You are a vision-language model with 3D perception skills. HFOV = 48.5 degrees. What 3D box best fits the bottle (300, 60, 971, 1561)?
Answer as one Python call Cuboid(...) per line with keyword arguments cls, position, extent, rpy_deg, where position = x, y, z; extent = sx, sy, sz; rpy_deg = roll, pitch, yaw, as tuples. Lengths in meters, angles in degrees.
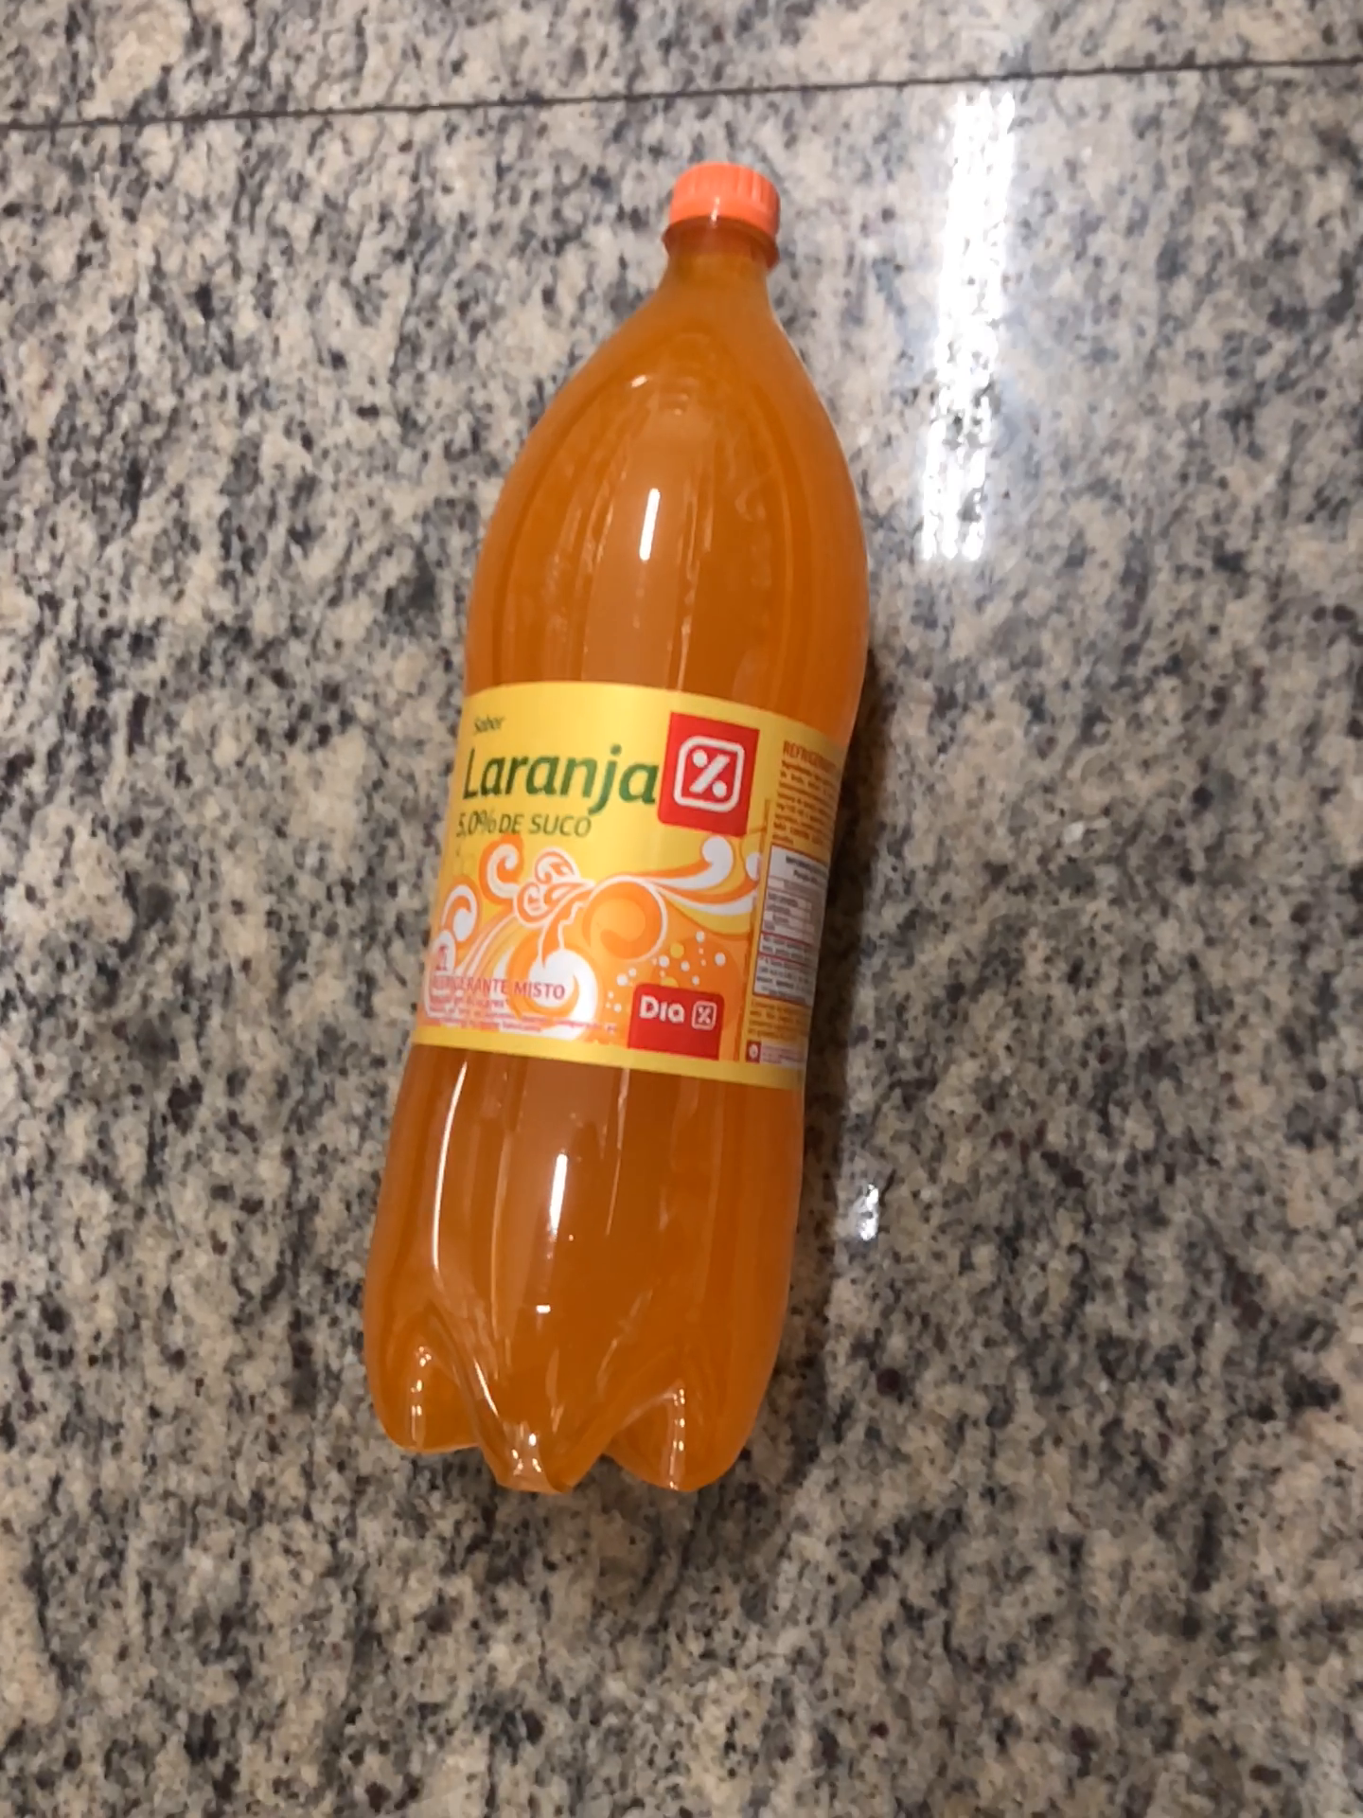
Cuboid(cls="bottle", position=(-0.002, -0.034, 0.390), extent=(0.120, 0.070, 0.350), rpy_deg=(4, 81, 13))
